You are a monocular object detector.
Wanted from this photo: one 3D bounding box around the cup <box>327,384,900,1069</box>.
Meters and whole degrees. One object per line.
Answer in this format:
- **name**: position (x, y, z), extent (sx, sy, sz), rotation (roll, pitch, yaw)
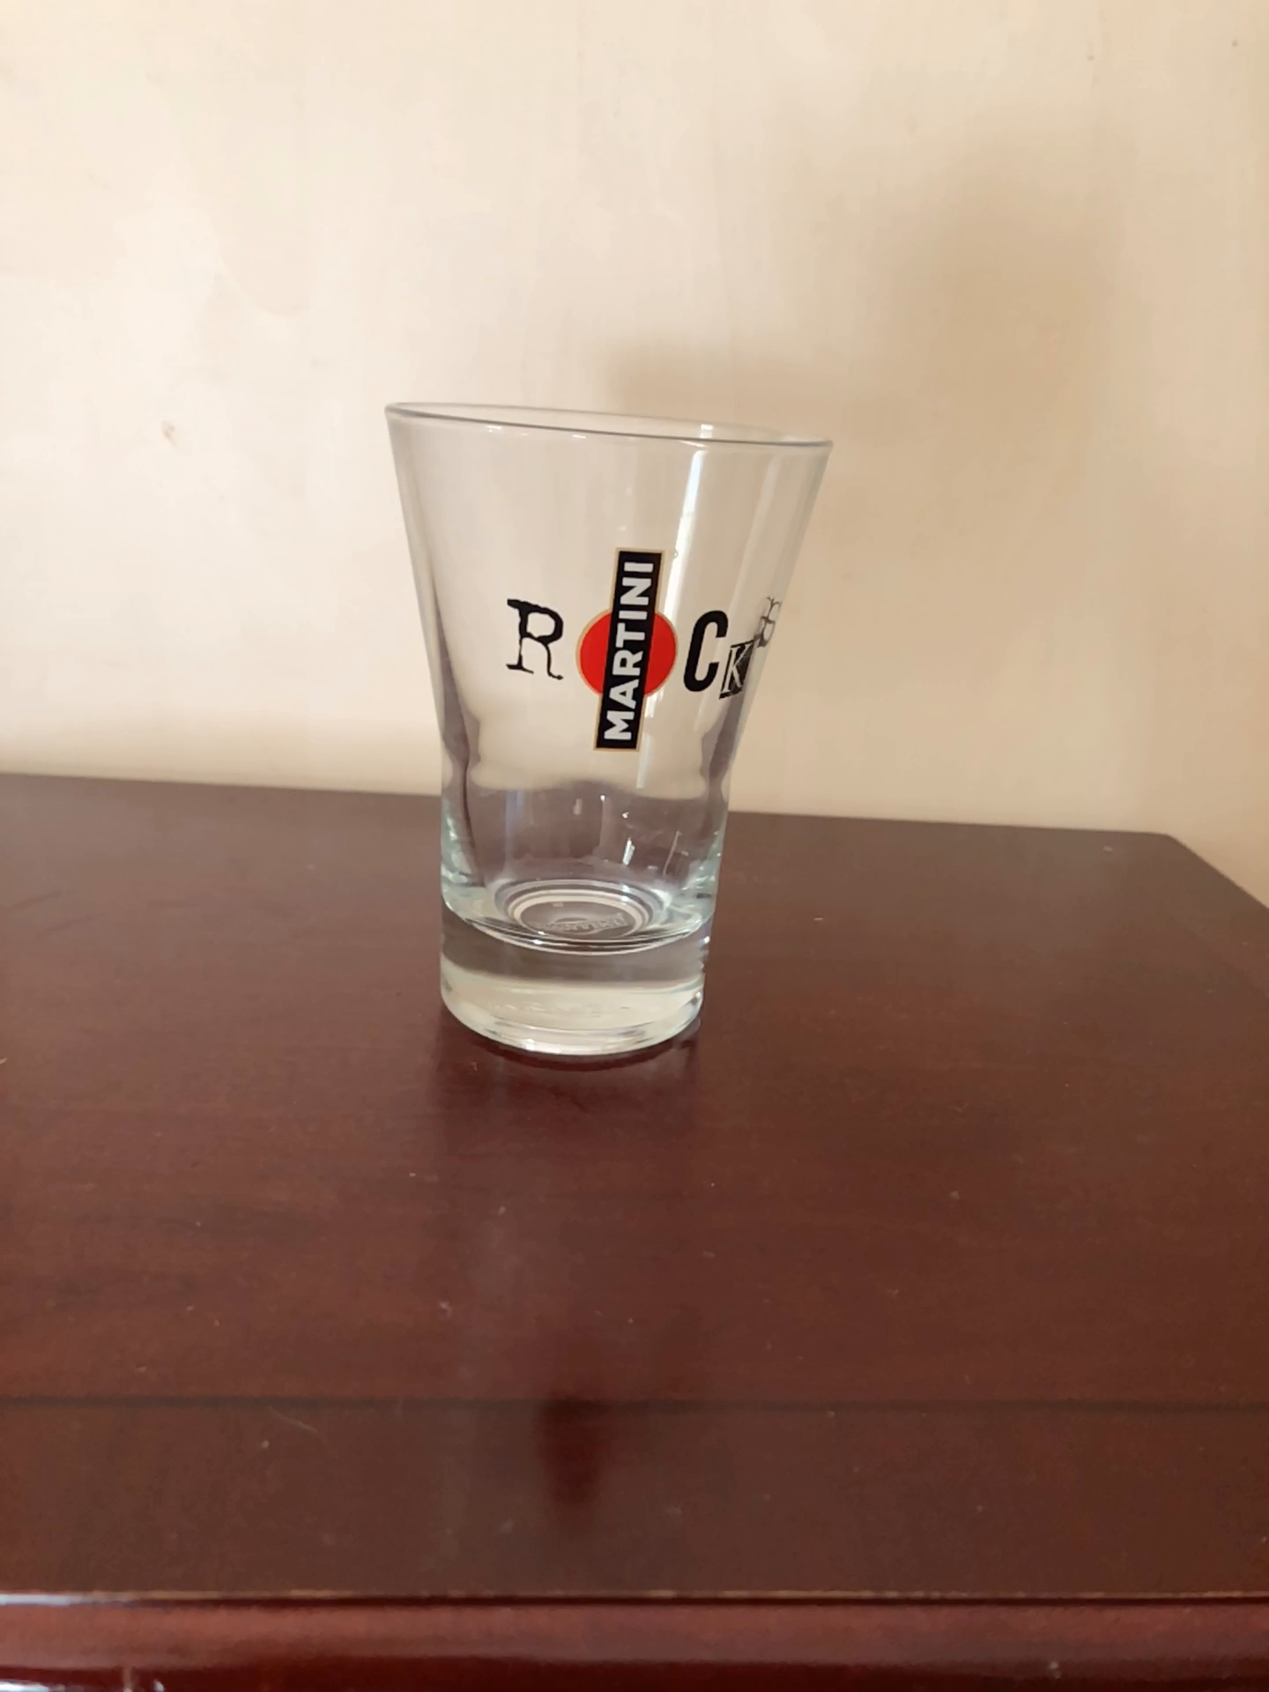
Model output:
- **cup**: position (-0.008, -0.031, 0.294), extent (0.094, 0.118, 0.094), rotation (4, 18, -1)
